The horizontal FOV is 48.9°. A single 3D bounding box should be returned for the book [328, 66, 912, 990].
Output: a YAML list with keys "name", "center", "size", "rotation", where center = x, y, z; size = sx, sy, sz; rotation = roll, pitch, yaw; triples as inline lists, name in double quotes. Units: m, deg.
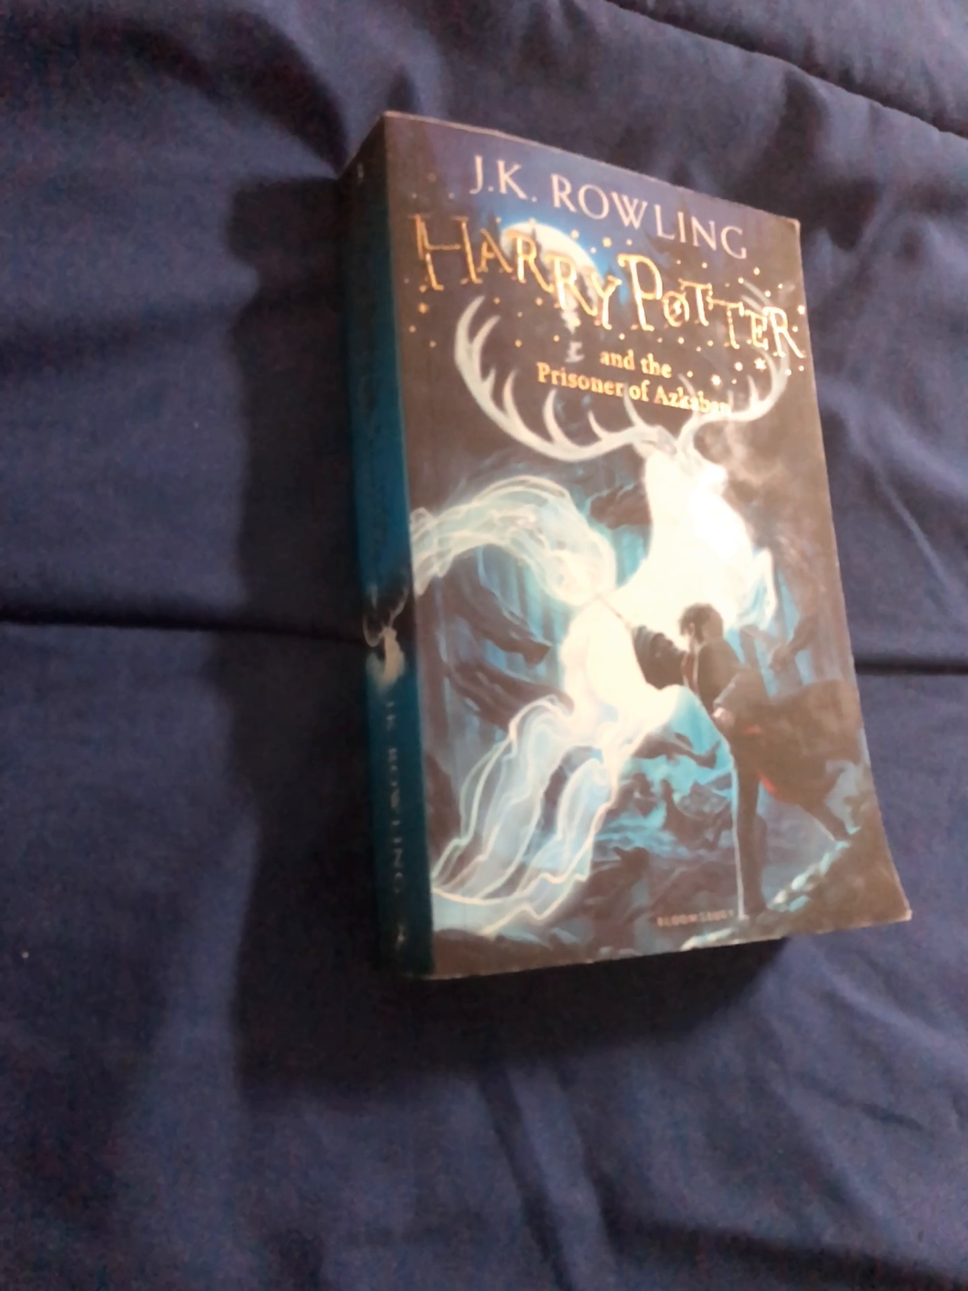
- name: "book"
  center: [0.034, -0.026, 0.274]
  size: [0.134, 0.045, 0.200]
  rotation: [2, 79, -27]
